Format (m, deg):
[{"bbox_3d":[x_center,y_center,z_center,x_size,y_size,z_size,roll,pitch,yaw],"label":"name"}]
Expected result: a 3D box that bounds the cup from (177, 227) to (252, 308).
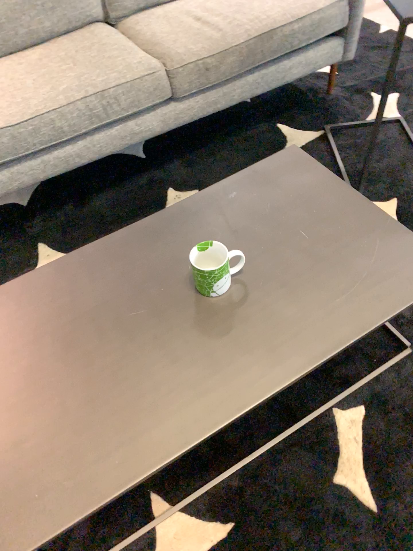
[{"bbox_3d":[0.020,-0.017,0.879,0.120,0.090,0.090,-34,56,-18],"label":"cup"}]
